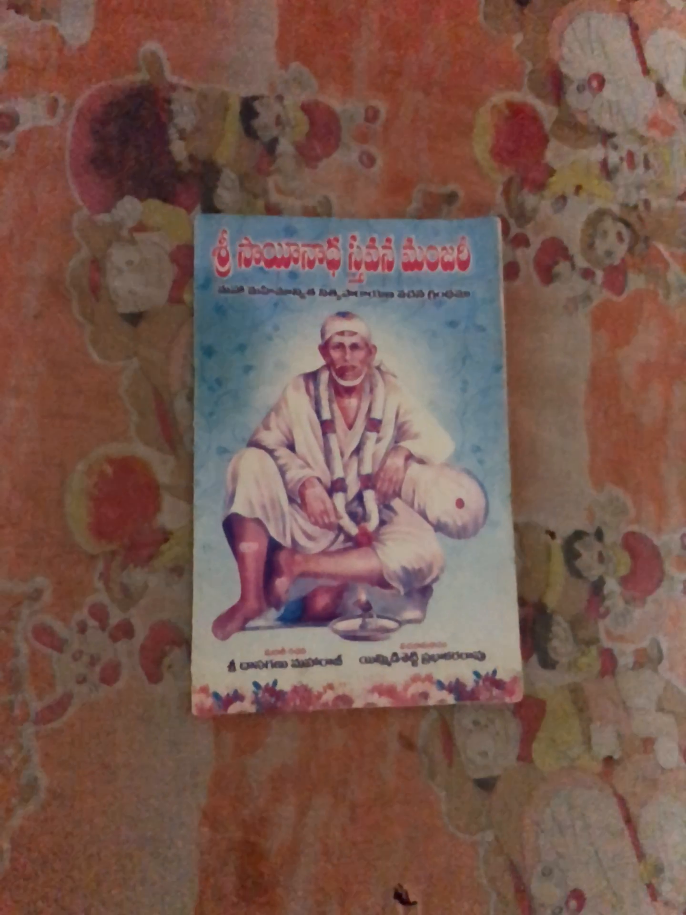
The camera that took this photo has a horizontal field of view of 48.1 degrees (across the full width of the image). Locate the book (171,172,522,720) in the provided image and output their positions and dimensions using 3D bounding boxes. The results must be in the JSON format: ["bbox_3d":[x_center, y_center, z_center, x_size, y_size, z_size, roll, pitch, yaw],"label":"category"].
[{"bbox_3d":[0.001,-0.008,0.326,0.140,0.020,0.220,0,83,-9],"label":"book"}]
